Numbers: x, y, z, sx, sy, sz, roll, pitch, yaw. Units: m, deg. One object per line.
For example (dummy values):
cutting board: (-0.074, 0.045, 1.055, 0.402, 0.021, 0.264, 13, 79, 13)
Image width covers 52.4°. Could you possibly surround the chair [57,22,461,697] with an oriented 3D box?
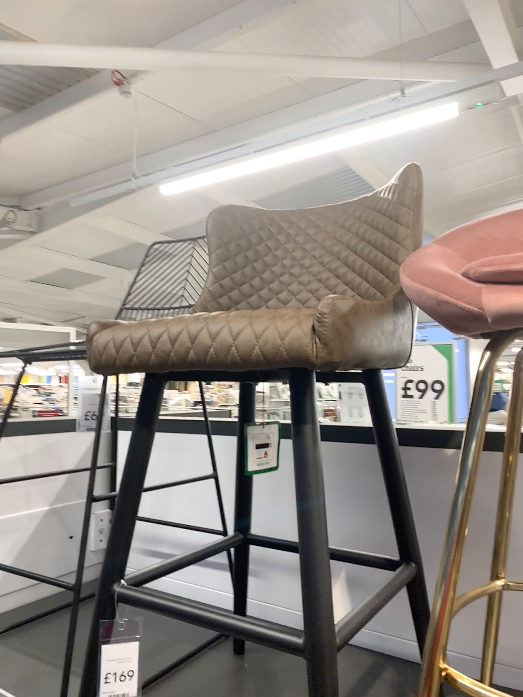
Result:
chair: (0.020, 0.120, 0.936, 0.535, 0.998, 0.465, -3, -3, 26)
